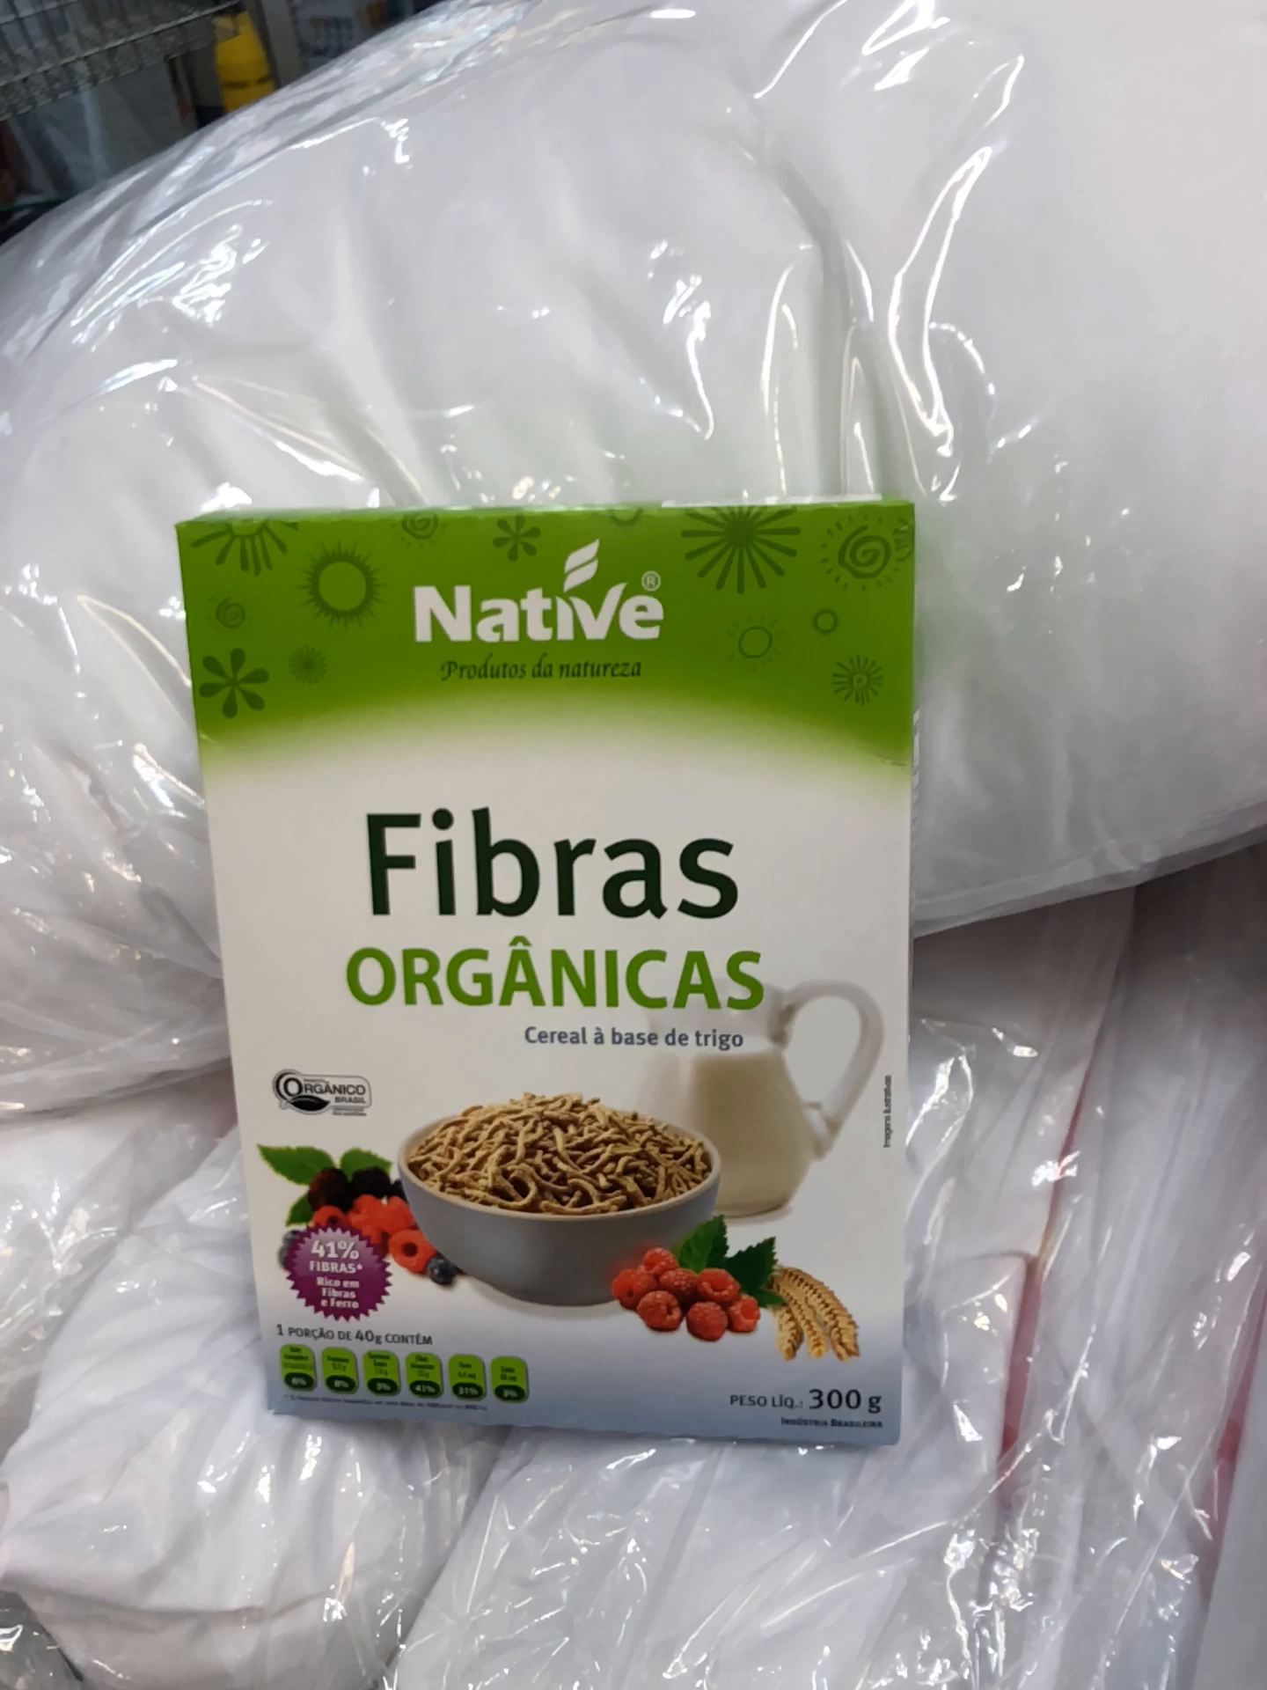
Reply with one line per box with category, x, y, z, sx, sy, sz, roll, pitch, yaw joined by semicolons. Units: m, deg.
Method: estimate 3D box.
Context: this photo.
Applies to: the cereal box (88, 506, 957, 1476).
cereal box;-0.020;0.035;0.359;0.190;0.229;0.060;0;15;8
